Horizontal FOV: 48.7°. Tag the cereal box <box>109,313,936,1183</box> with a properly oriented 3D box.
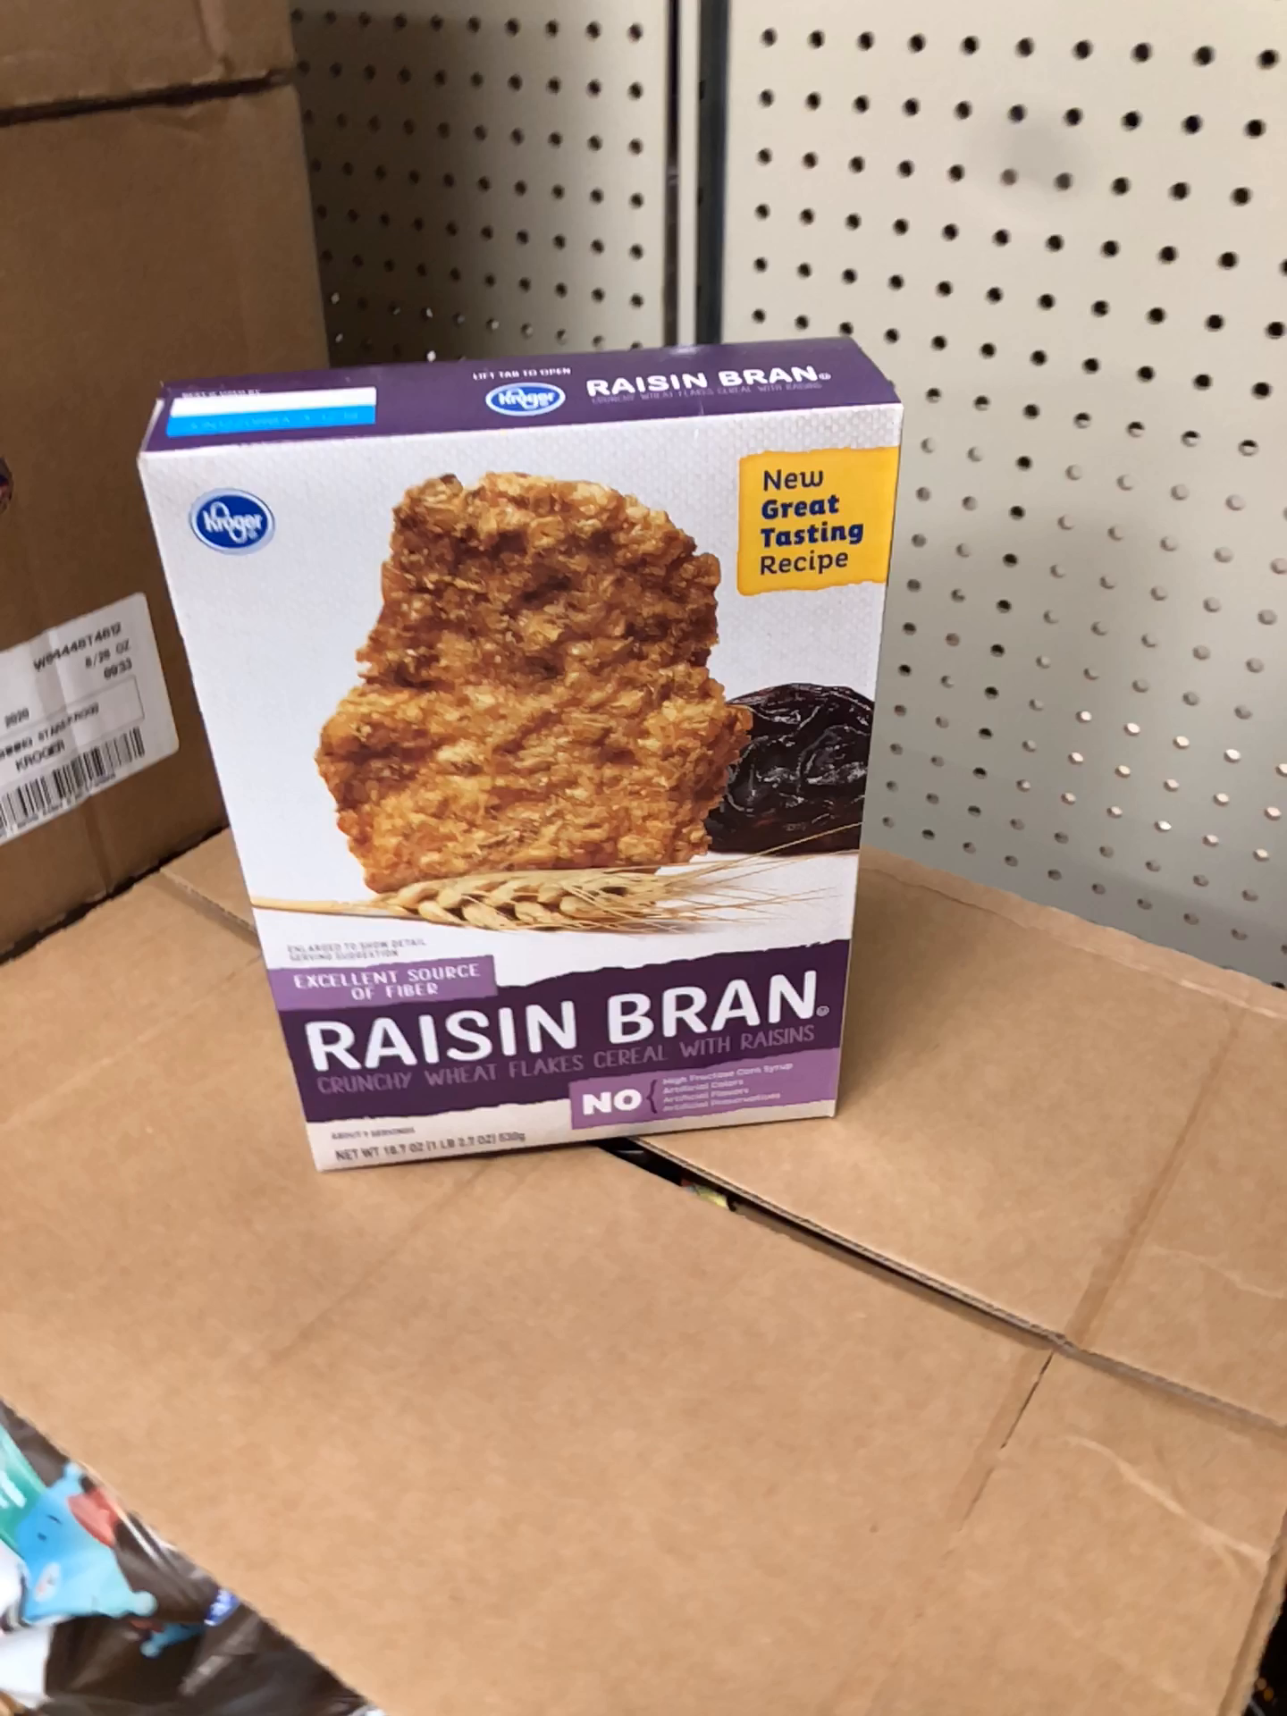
[{"bbox_3d":[-0.030,-0.020,0.449,0.200,0.269,0.060,-5,38,-6],"label":"cereal box"}]
